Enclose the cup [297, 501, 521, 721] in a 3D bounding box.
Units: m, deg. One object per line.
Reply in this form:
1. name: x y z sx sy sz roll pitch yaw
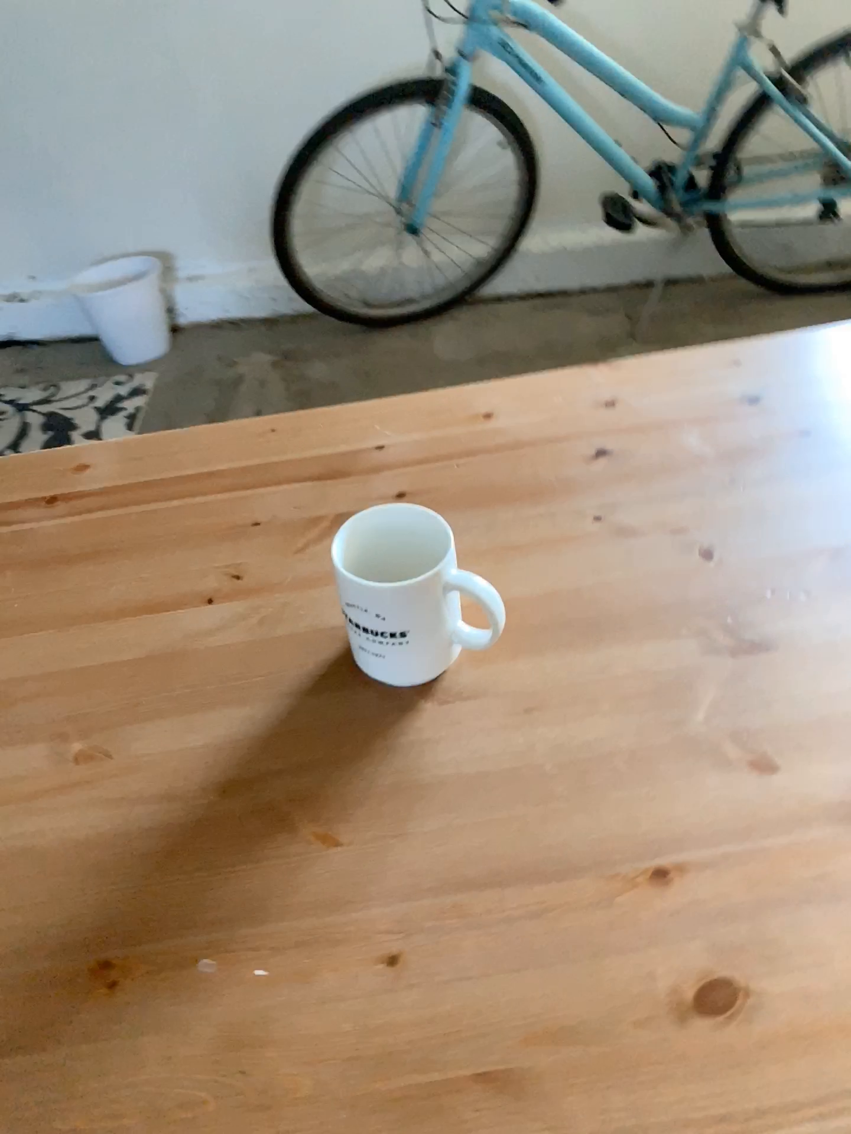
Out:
1. cup: -0.006 0.028 0.593 0.120 0.100 0.080 12 48 20
